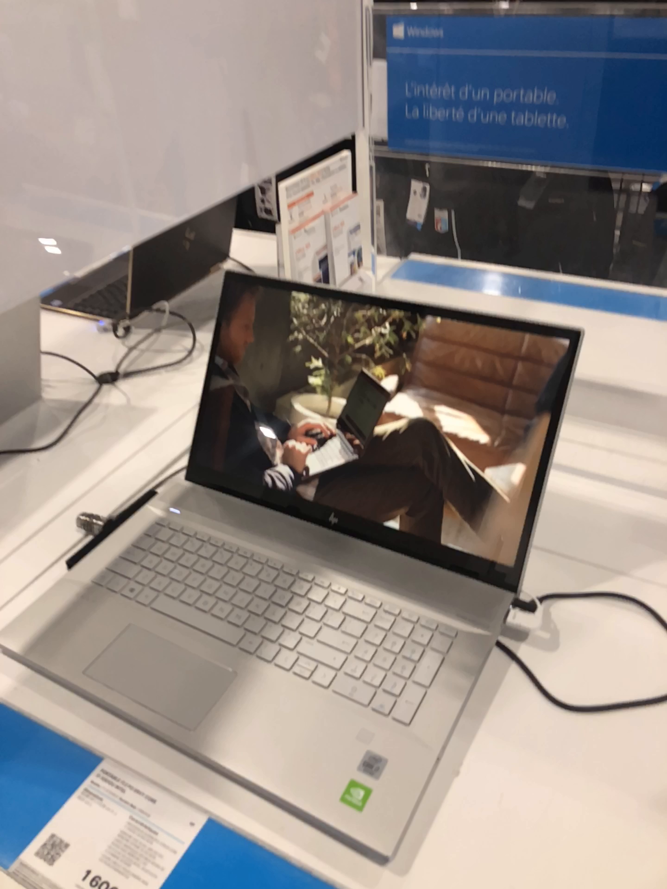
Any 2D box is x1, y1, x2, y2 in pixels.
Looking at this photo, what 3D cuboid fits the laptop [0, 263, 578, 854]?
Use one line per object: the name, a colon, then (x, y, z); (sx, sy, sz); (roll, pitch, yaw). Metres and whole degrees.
laptop: (-0.044, 0.033, 0.650); (0.391, 0.199, 0.398); (16, 39, 25)
